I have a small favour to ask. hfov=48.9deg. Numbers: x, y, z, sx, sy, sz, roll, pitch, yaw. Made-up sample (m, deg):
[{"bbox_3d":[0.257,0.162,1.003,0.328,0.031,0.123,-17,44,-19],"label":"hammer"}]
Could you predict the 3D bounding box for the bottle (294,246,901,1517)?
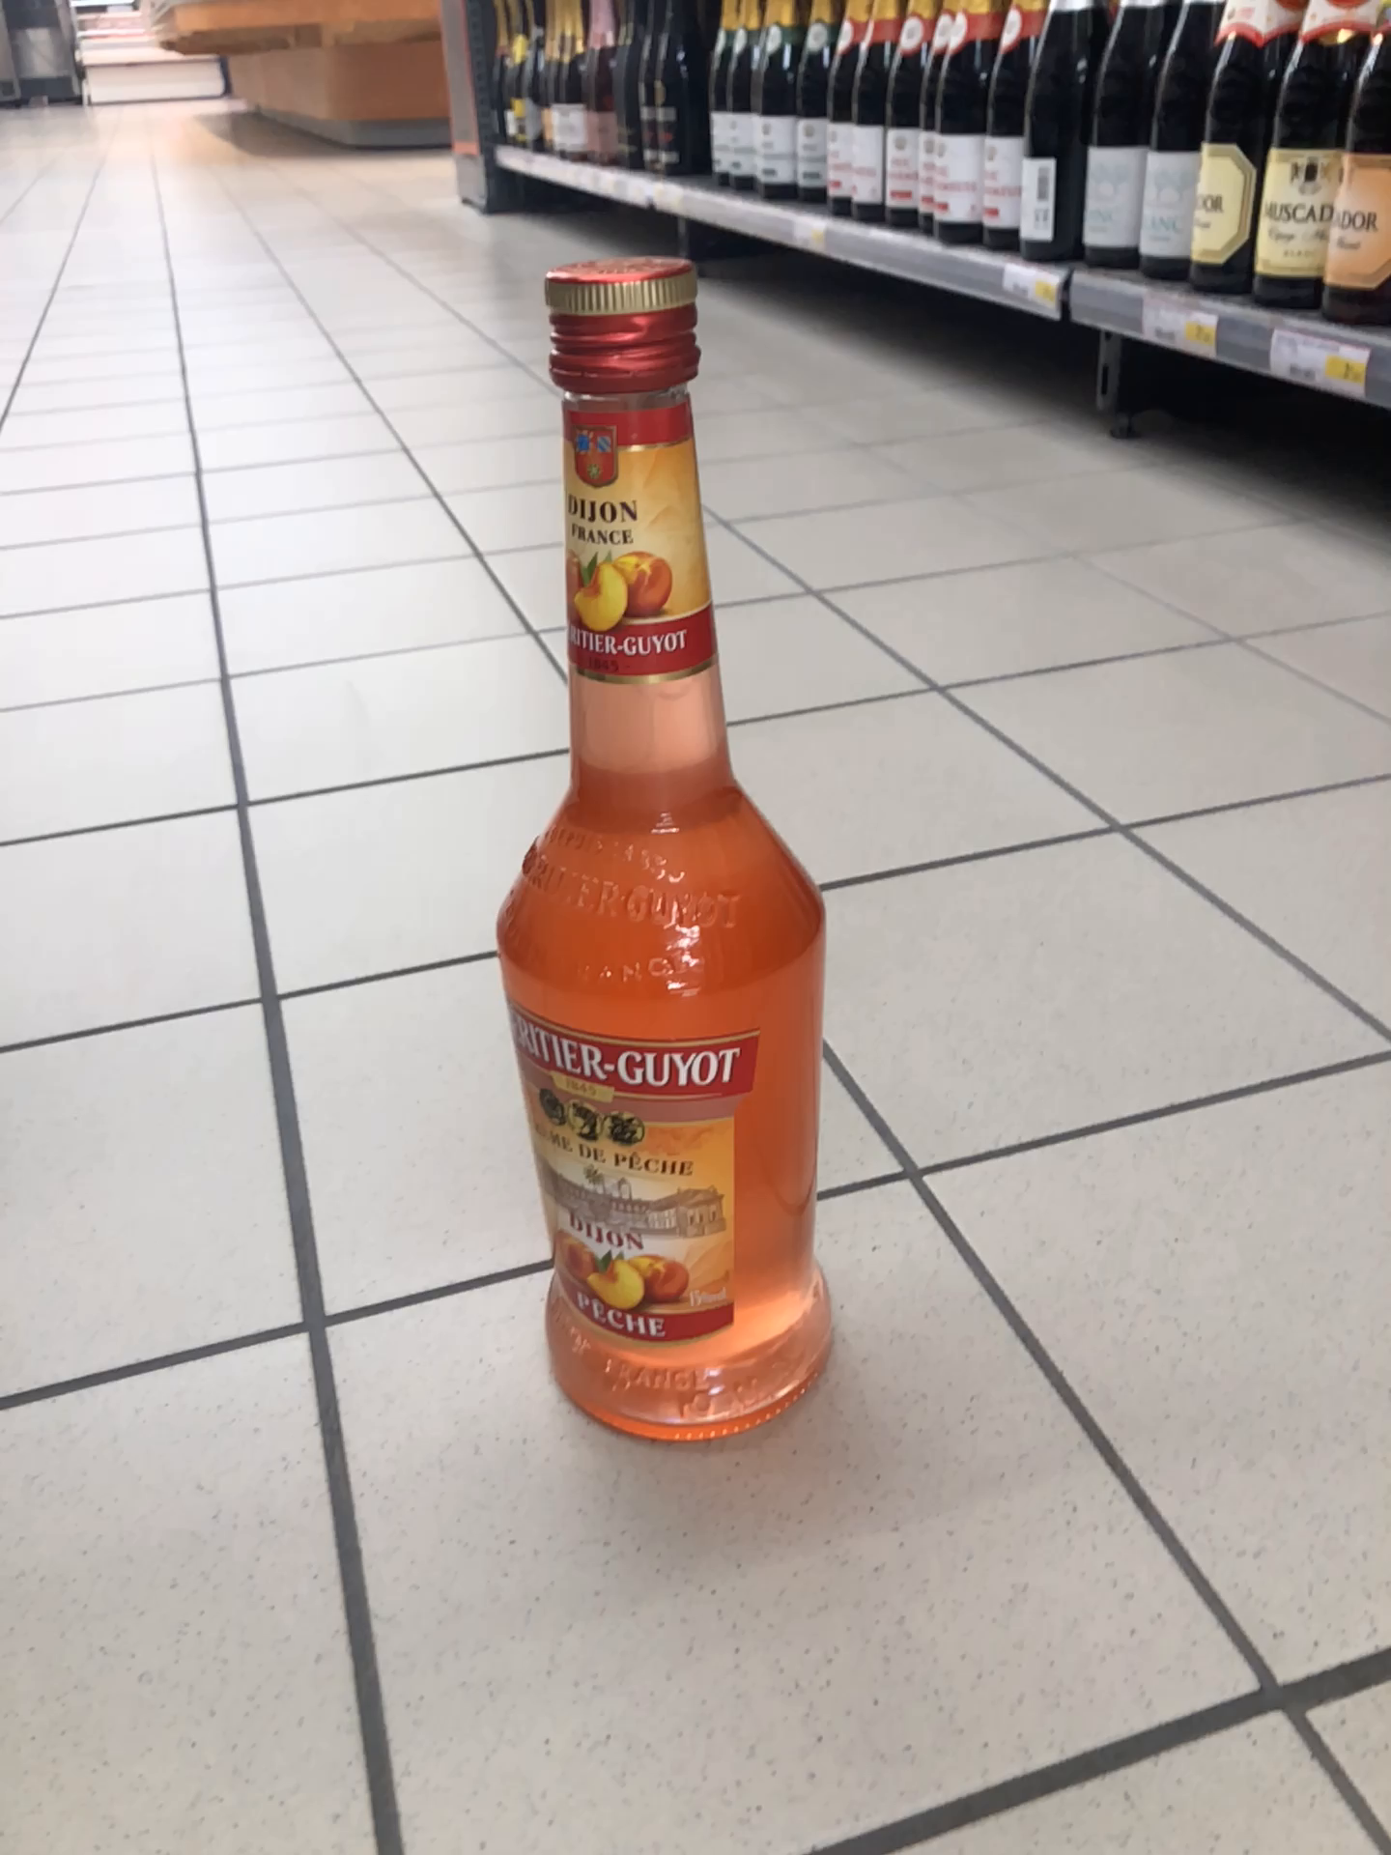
[{"bbox_3d":[-0.012,-0.006,0.389,0.090,0.298,0.091,-2,28,1],"label":"bottle"}]
